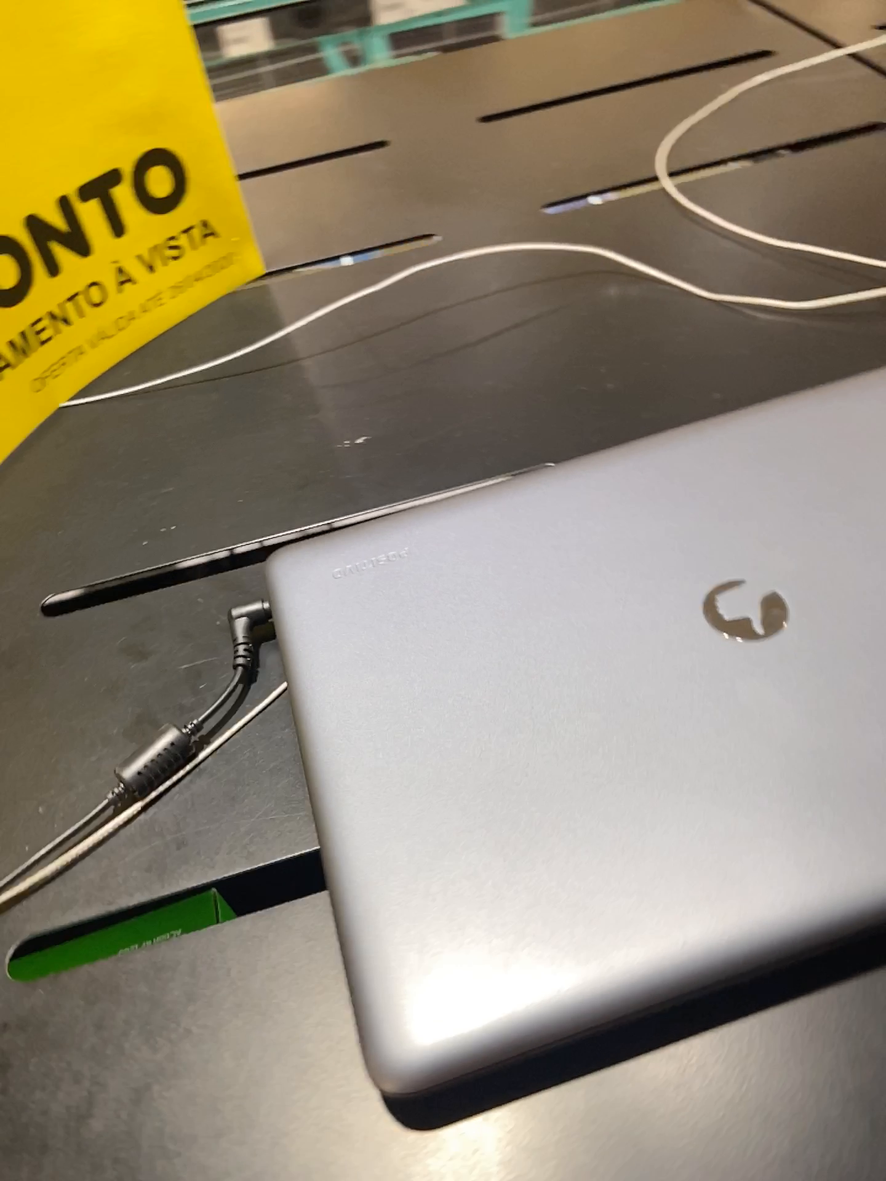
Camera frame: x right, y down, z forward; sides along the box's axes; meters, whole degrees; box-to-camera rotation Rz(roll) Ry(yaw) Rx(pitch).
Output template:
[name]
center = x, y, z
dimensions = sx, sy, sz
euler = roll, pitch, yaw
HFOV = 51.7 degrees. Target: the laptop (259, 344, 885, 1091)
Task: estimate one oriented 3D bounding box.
[laptop]
center = 0.108, 0.010, 0.327
dimensions = 0.329, 0.001, 0.213
euler = -17, 47, -5
